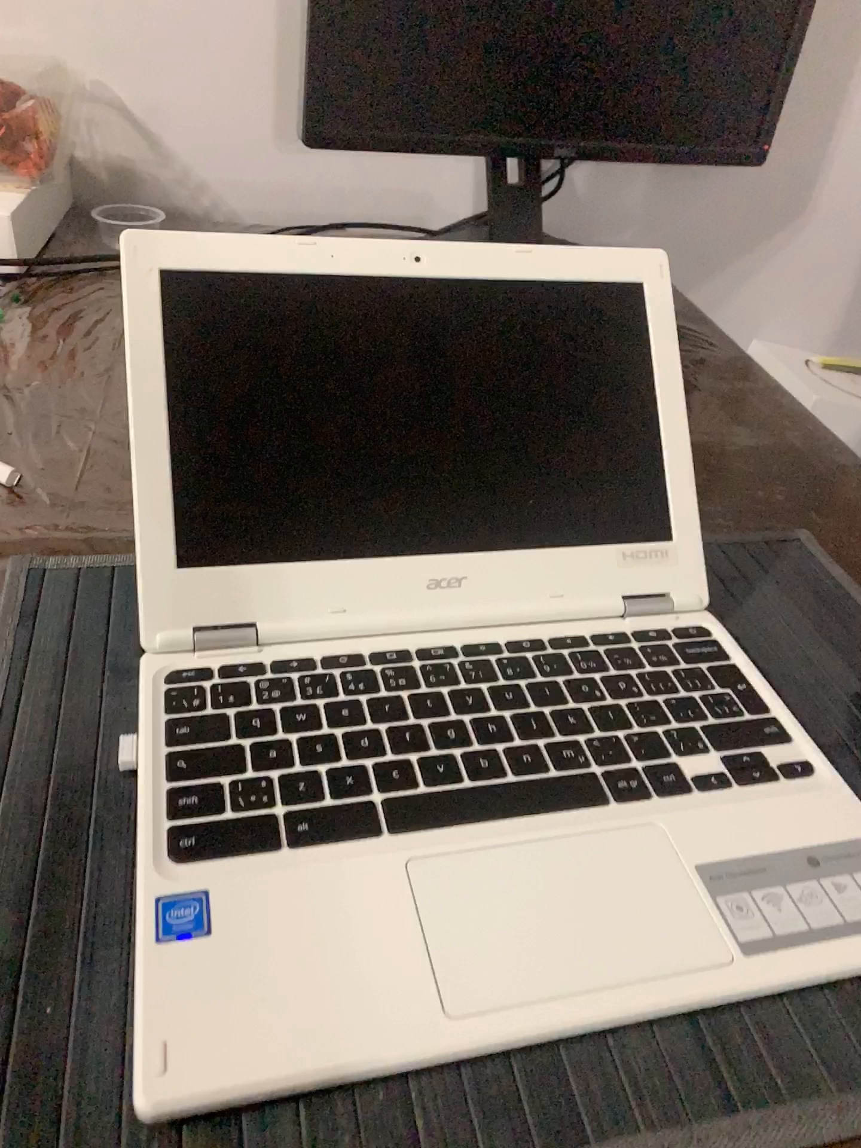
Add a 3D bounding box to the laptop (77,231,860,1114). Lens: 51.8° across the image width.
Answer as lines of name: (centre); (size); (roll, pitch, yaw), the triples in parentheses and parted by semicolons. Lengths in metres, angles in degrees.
laptop: (0.026, -0.013, 0.366); (0.284, 0.142, 0.329); (-3, 37, -15)
